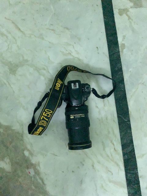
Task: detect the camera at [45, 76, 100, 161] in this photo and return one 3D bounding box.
[{"bbox_3d":[-0.007,0.061,0.488,0.139,0.100,0.232,-5,81,-3],"label":"camera"}]
